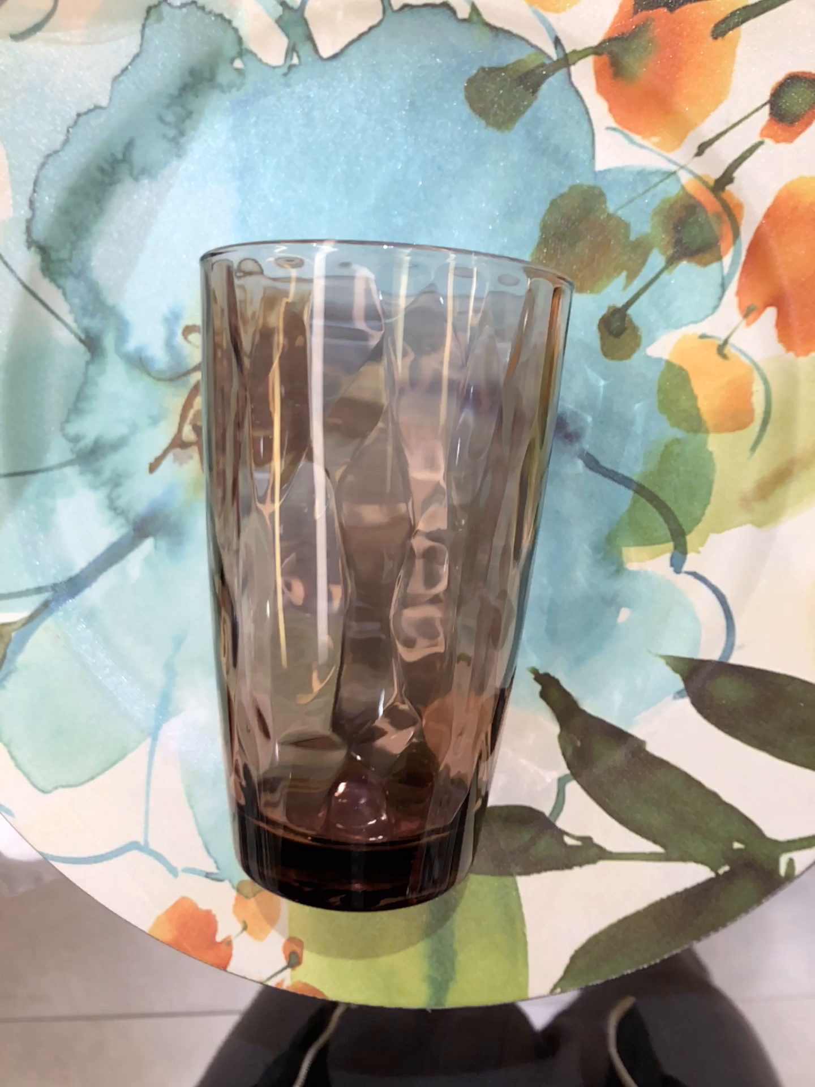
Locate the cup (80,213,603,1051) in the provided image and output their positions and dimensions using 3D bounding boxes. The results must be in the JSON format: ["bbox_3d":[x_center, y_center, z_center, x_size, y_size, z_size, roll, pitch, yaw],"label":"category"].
[{"bbox_3d":[-0.008,0.013,0.212,0.090,0.080,0.150,5,92,13],"label":"cup"}]
